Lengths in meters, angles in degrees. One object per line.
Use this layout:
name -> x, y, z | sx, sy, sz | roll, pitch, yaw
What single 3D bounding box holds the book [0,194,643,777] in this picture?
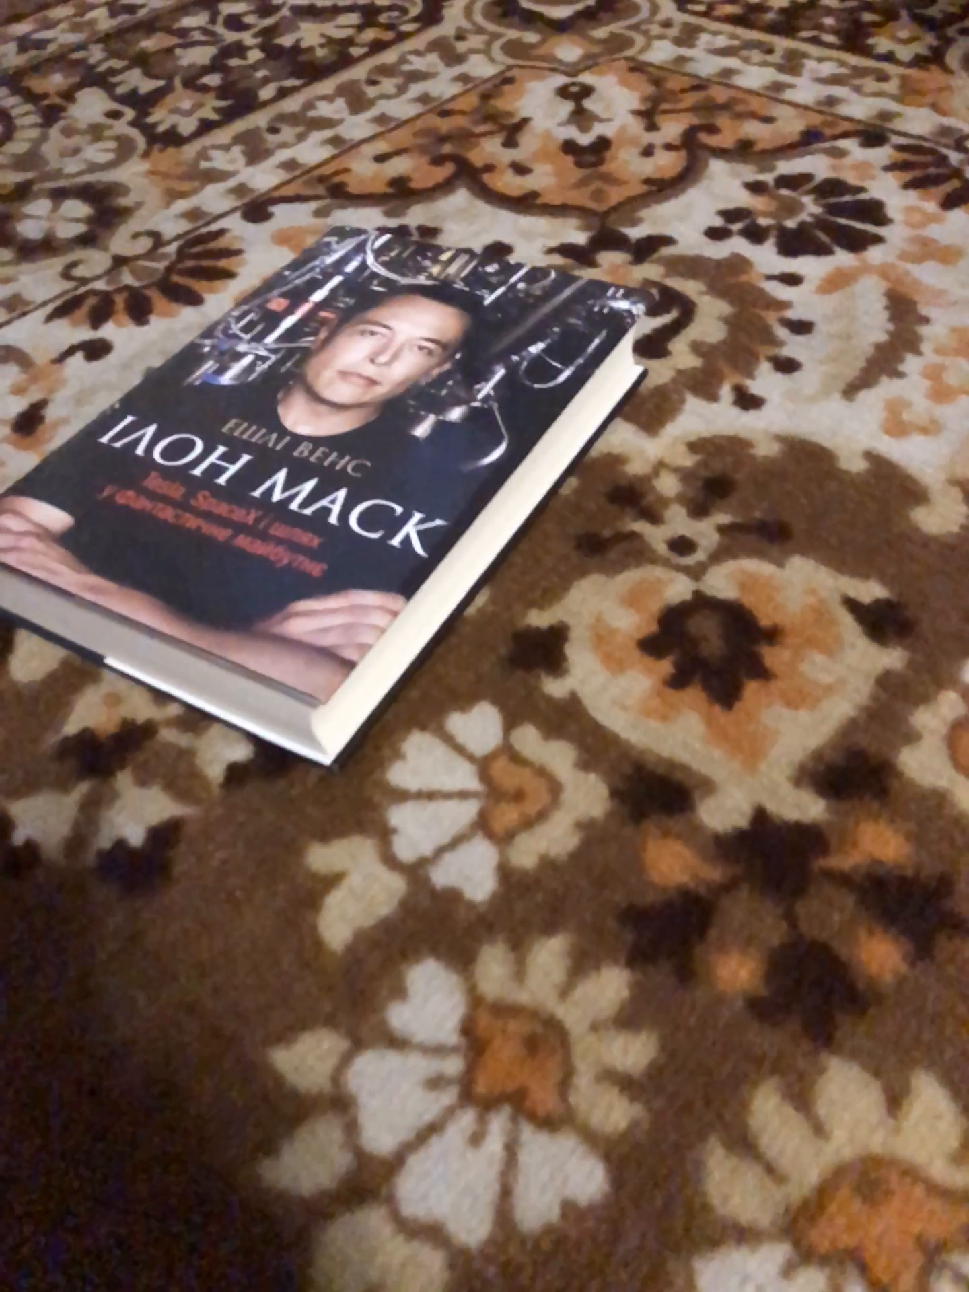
book -> -0.071, -0.089, 0.442 | 0.184, 0.050, 0.251 | 21, 55, 21
